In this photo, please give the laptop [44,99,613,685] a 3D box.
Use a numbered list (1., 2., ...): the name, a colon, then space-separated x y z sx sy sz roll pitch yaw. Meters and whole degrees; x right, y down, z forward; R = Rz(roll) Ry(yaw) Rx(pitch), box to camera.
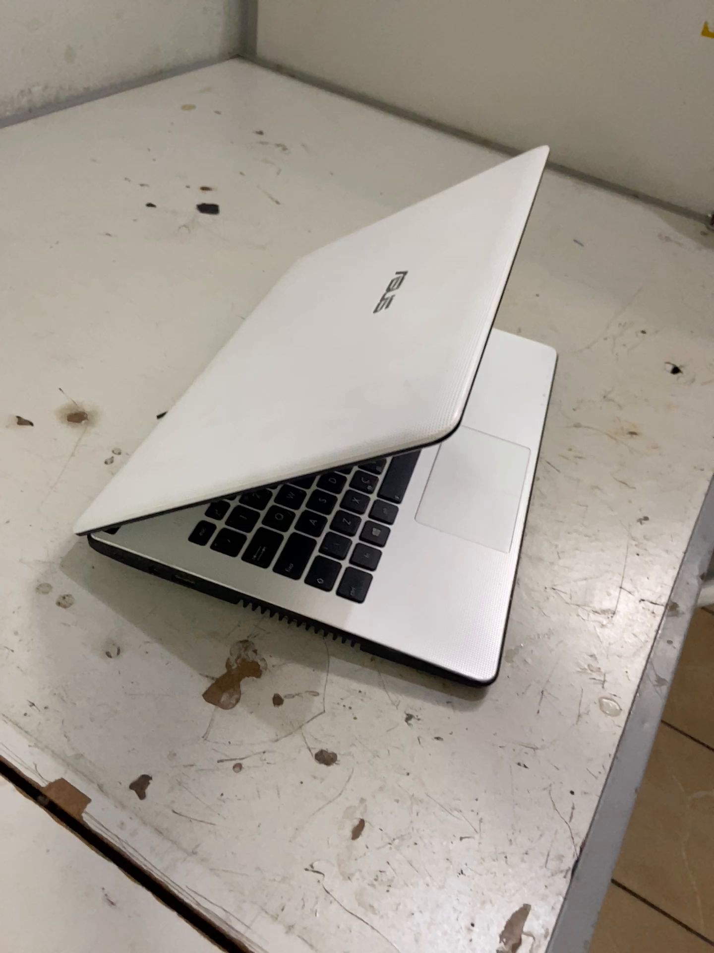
1. laptop: 0.018 -0.090 0.472 0.236 0.141 0.345 18 43 6
